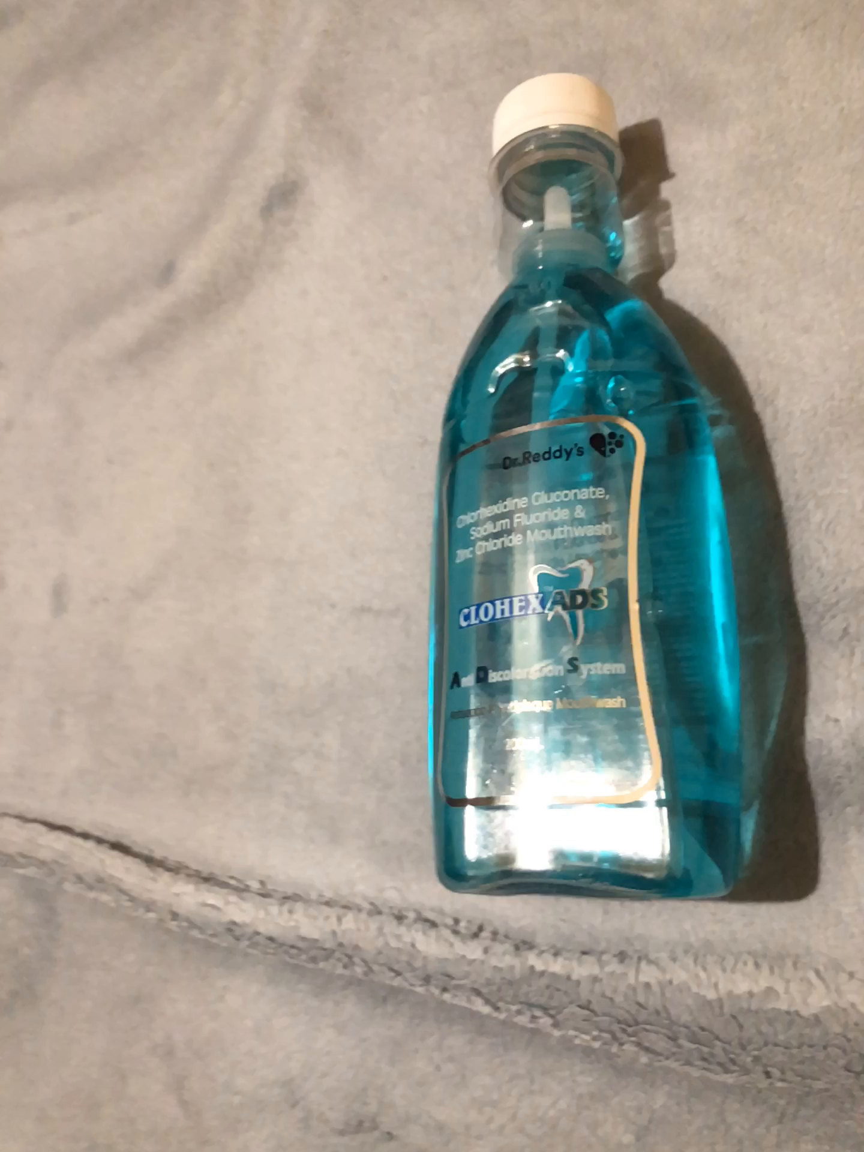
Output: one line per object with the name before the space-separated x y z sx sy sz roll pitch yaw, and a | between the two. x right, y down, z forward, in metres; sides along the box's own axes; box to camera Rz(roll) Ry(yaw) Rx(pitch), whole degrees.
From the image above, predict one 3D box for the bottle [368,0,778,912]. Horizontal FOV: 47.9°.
bottle | 0.026 -0.036 0.221 0.070 0.040 0.210 -11 71 30
